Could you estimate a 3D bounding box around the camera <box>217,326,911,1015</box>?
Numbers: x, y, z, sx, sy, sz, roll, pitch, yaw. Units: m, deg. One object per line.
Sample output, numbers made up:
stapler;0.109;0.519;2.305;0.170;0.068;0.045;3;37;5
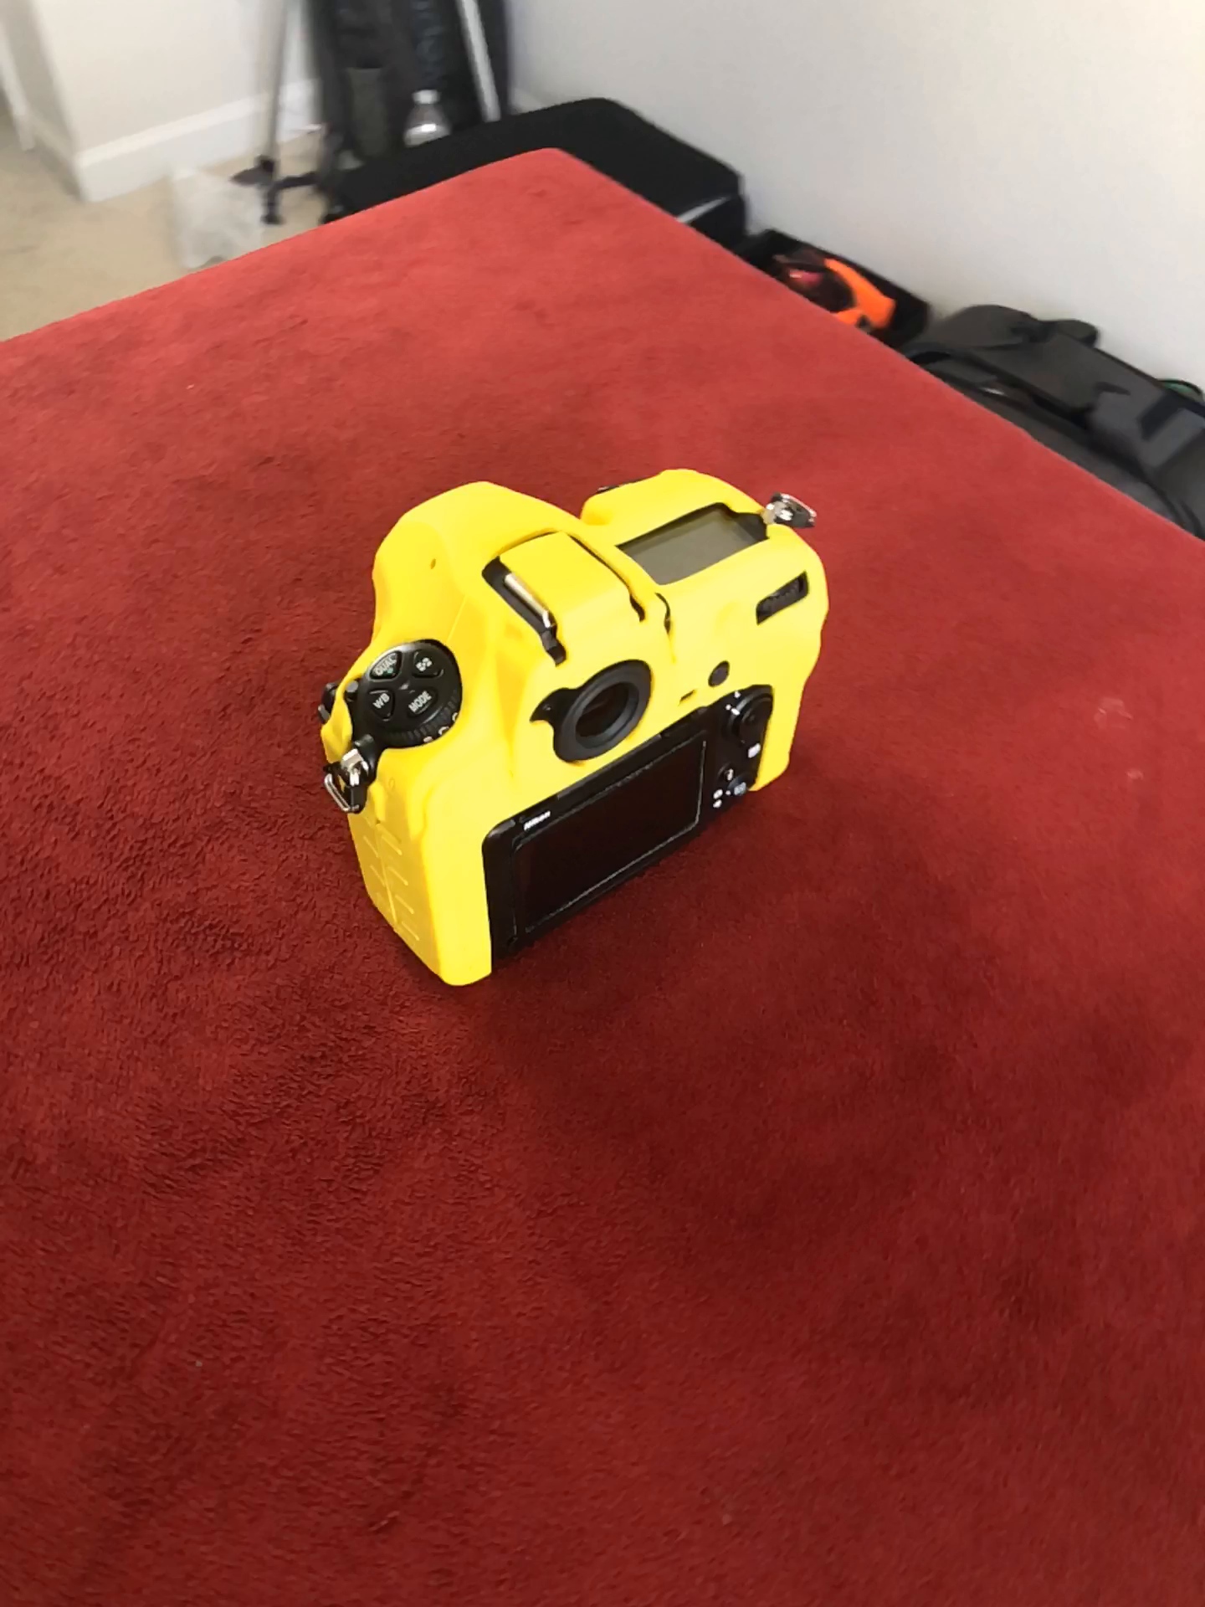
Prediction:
camera;-0.007;-0.040;0.385;0.160;0.116;0.082;-31;57;-23
